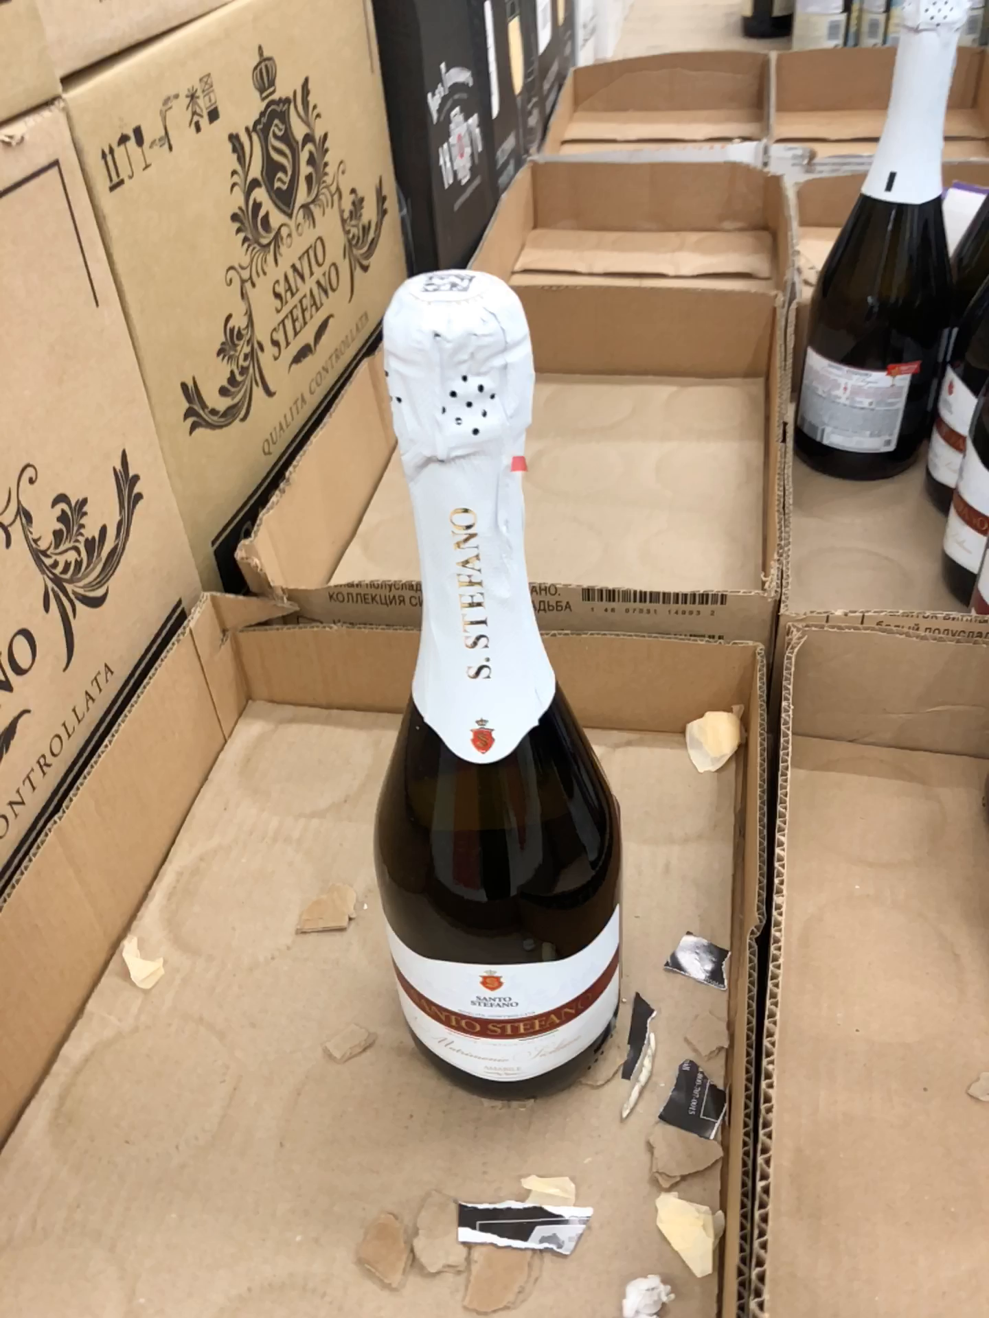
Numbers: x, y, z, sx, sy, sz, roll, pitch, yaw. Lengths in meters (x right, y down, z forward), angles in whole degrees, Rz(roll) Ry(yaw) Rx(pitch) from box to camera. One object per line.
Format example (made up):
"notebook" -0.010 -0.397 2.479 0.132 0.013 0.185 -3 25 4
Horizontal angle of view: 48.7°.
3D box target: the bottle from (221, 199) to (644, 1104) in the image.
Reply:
"bottle" 0.000 0.024 0.362 0.090 0.308 0.091 -3 39 3
